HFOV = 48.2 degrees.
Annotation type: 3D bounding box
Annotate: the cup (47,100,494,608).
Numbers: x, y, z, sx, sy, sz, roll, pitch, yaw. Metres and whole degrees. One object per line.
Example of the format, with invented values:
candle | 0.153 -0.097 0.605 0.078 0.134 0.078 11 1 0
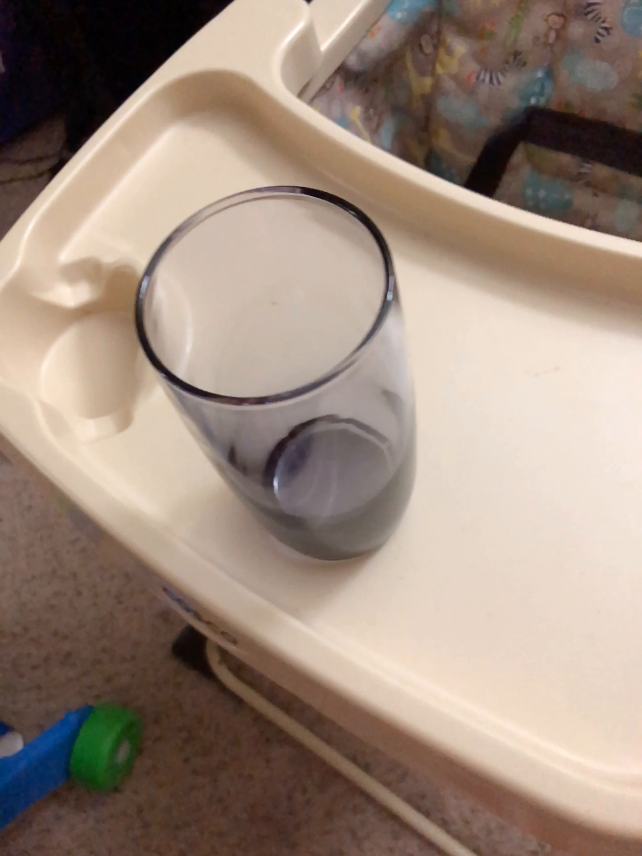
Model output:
cup | -0.006 -0.013 0.243 0.084 0.134 0.083 -4 64 9
